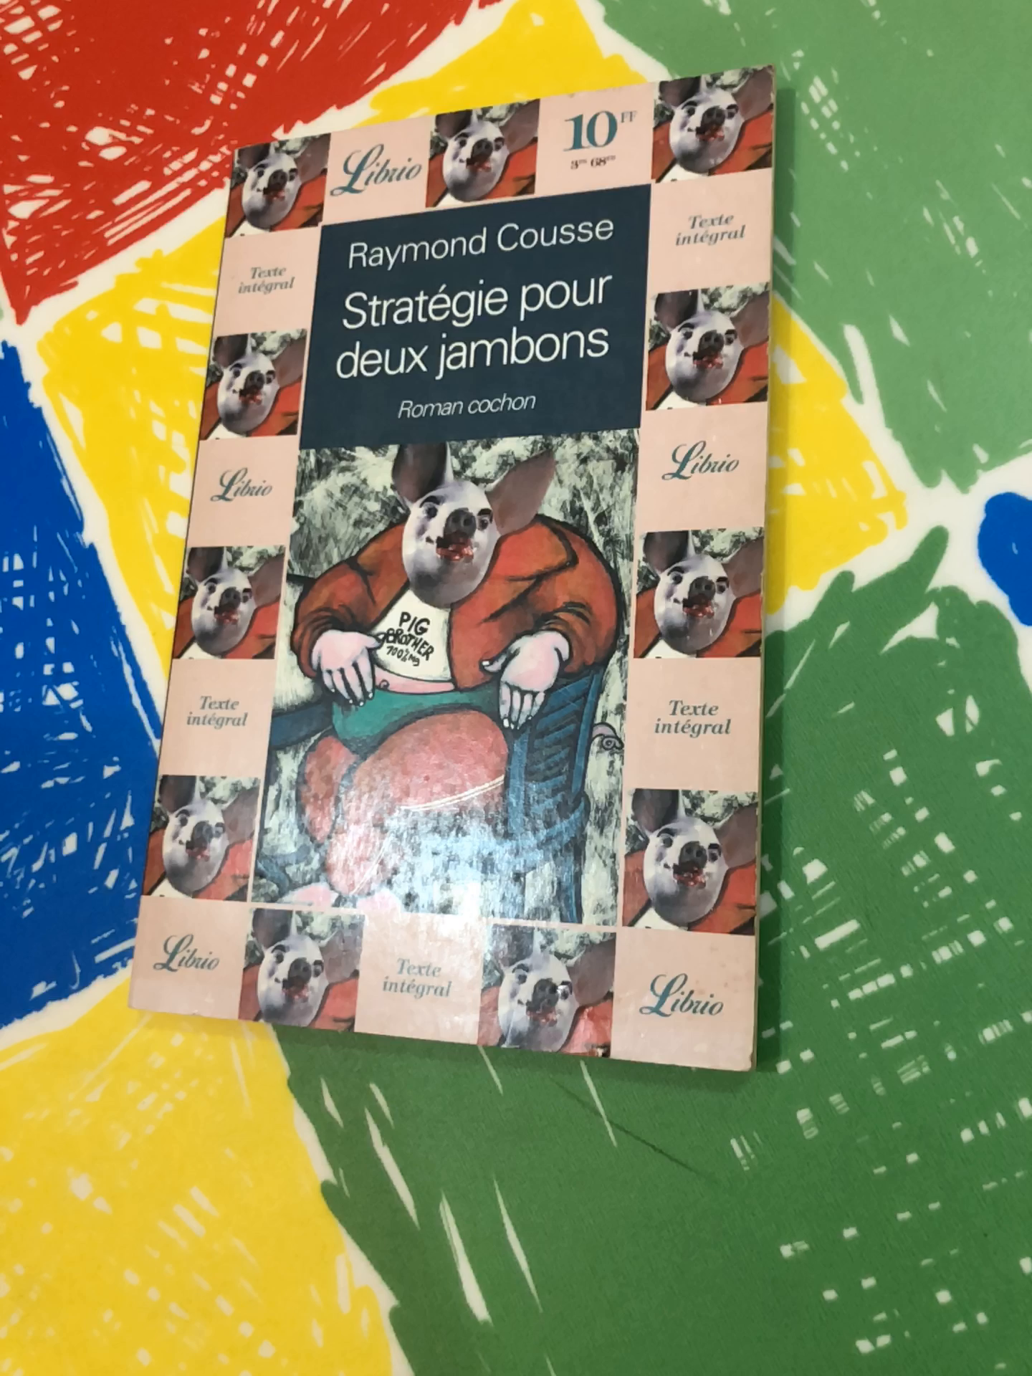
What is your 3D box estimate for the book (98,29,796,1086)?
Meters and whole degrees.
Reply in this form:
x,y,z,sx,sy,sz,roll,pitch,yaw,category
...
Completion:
x,y,z,sx,sy,sz,roll,pitch,yaw,category
-0.012,-0.031,0.232,0.130,0.014,0.197,0,78,18,book
